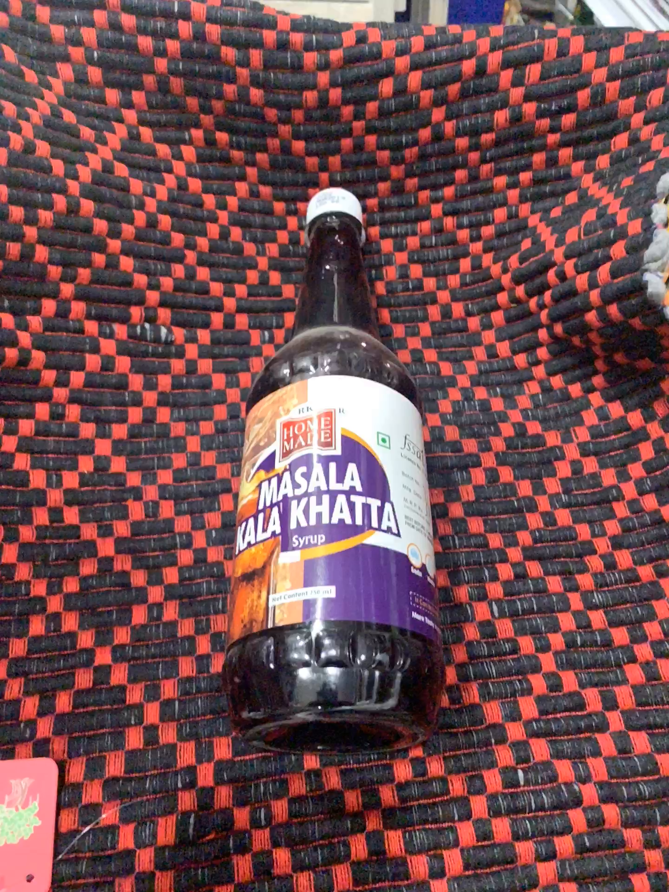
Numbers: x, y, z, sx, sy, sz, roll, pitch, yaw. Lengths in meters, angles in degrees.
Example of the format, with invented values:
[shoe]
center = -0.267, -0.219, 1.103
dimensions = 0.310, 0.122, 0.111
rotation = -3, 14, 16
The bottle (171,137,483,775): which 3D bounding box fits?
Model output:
[bottle]
center = -0.002, -0.015, 0.286
dimensions = 0.080, 0.080, 0.261
rotation = -3, 54, 3
